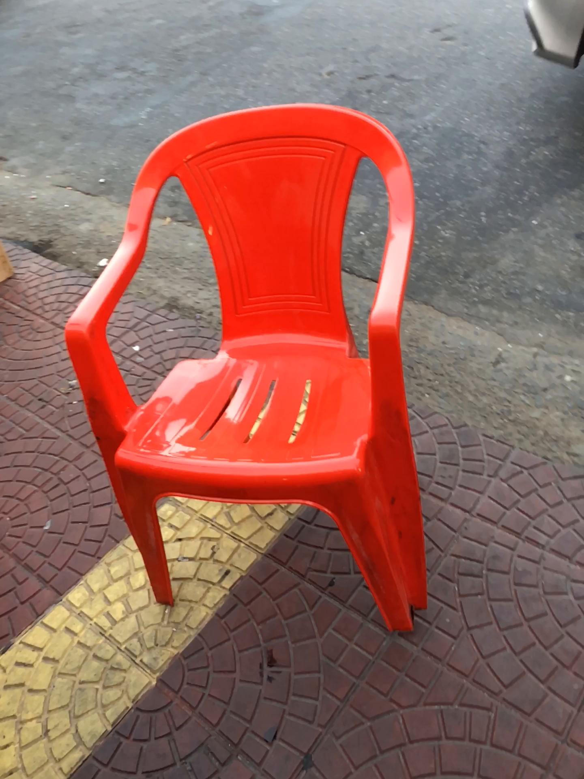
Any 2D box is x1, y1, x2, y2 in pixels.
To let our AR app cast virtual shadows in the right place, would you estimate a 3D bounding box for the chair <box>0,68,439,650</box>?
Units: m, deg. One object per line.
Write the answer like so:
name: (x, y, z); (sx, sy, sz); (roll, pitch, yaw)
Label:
chair: (-0.047, -0.025, 1.127); (0.570, 0.794, 0.544); (2, 44, 15)
